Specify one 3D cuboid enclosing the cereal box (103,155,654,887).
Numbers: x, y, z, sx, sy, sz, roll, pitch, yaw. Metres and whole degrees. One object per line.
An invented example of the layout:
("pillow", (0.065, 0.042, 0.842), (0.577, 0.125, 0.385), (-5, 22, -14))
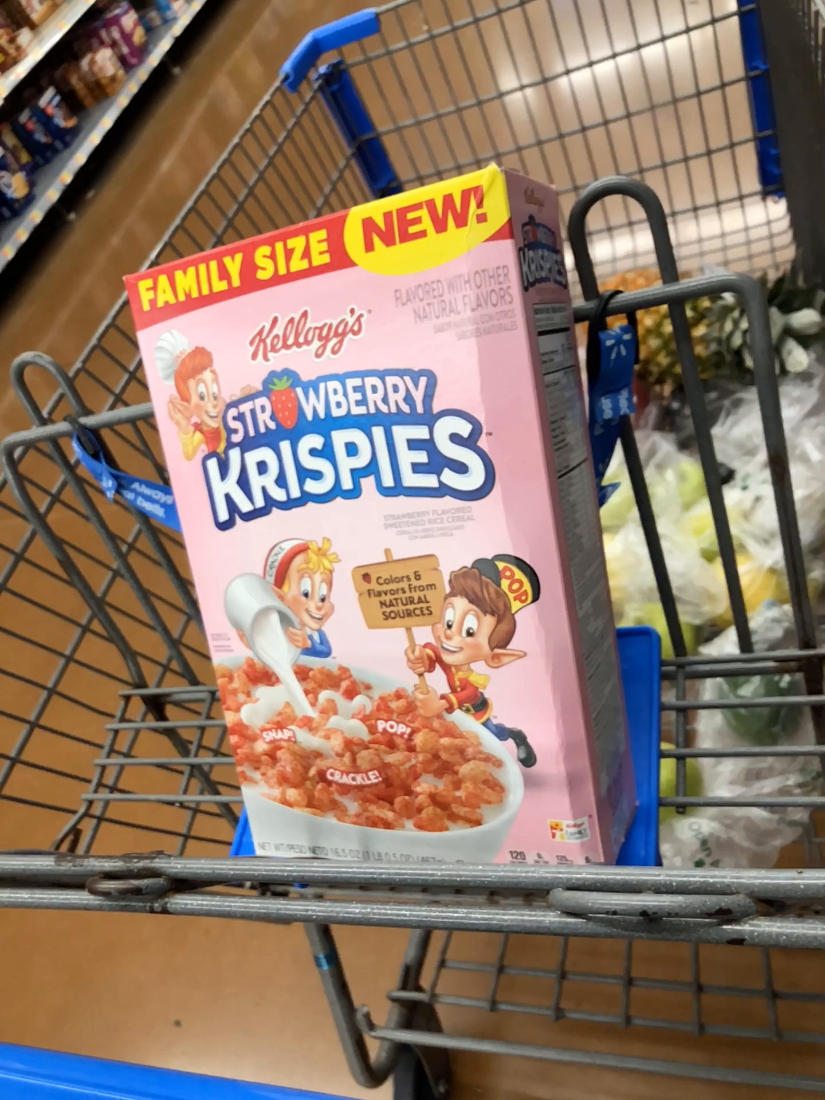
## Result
("cereal box", (-0.012, -0.002, 0.435), (0.200, 0.290, 0.080), (-6, 9, 25))
